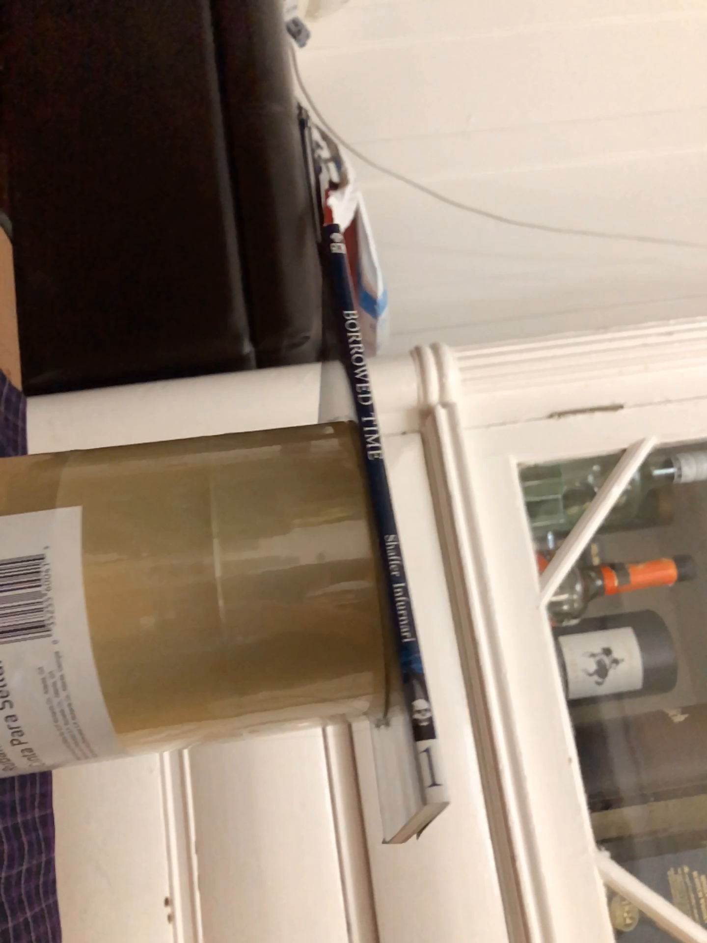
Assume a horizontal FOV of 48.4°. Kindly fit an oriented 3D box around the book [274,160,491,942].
[{"bbox_3d":[0.000,0.033,0.278,0.160,0.010,0.230,90,-11,-60],"label":"book"}]
